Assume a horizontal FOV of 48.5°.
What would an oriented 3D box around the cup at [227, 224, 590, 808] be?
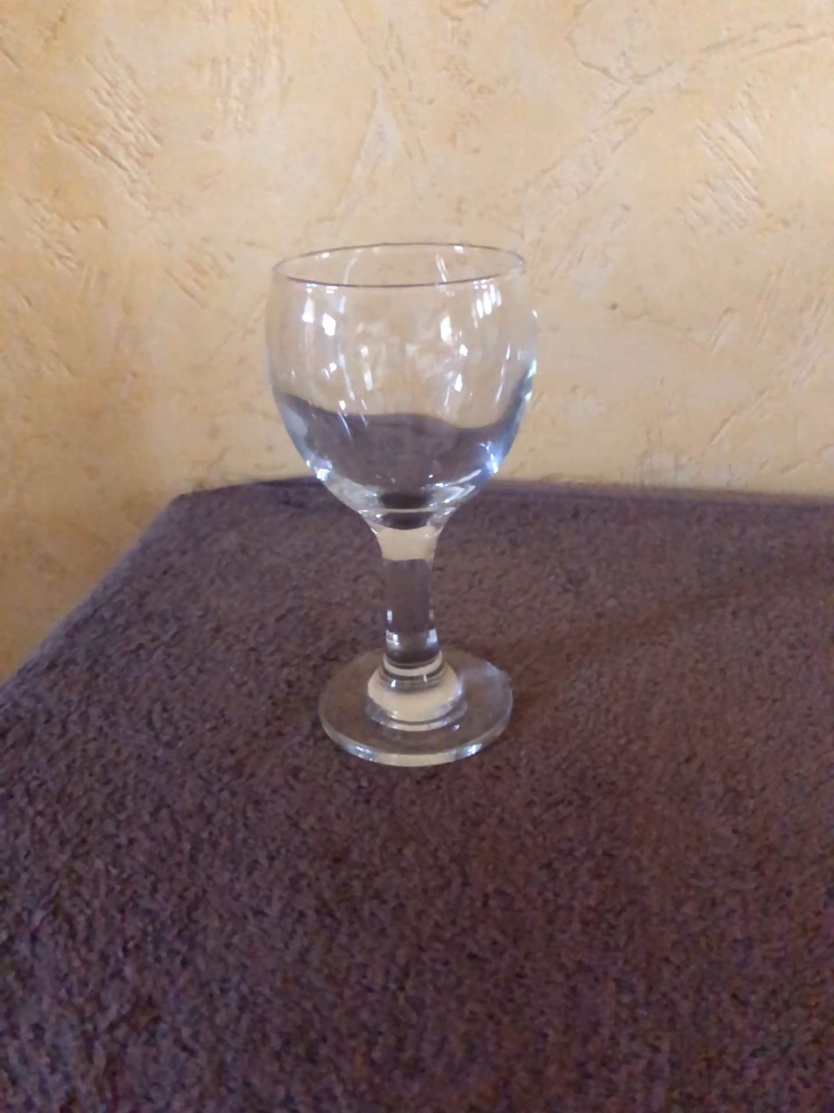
[{"bbox_3d":[-0.004,-0.014,0.247,0.070,0.129,0.070,-2,26,1],"label":"cup"}]
